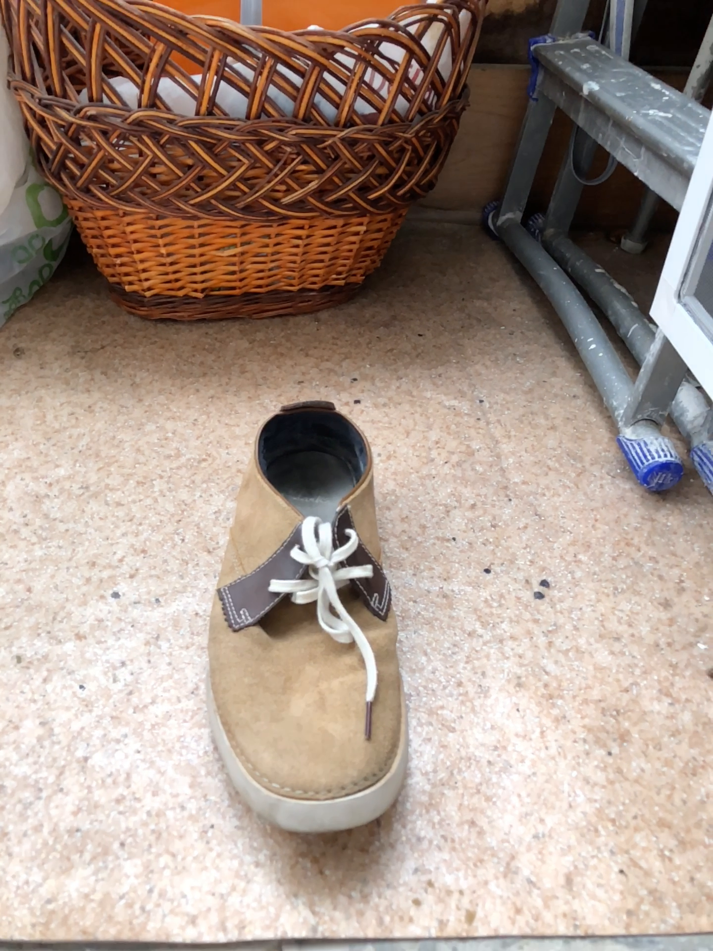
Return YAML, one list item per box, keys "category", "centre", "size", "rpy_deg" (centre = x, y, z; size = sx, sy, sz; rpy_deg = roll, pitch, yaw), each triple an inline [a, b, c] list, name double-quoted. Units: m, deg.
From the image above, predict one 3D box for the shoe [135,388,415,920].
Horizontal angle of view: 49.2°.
- category: "shoe"
  centre: [-0.041, 0.073, 0.450]
  size: [0.110, 0.089, 0.302]
  rpy_deg: [-1, 41, -4]
